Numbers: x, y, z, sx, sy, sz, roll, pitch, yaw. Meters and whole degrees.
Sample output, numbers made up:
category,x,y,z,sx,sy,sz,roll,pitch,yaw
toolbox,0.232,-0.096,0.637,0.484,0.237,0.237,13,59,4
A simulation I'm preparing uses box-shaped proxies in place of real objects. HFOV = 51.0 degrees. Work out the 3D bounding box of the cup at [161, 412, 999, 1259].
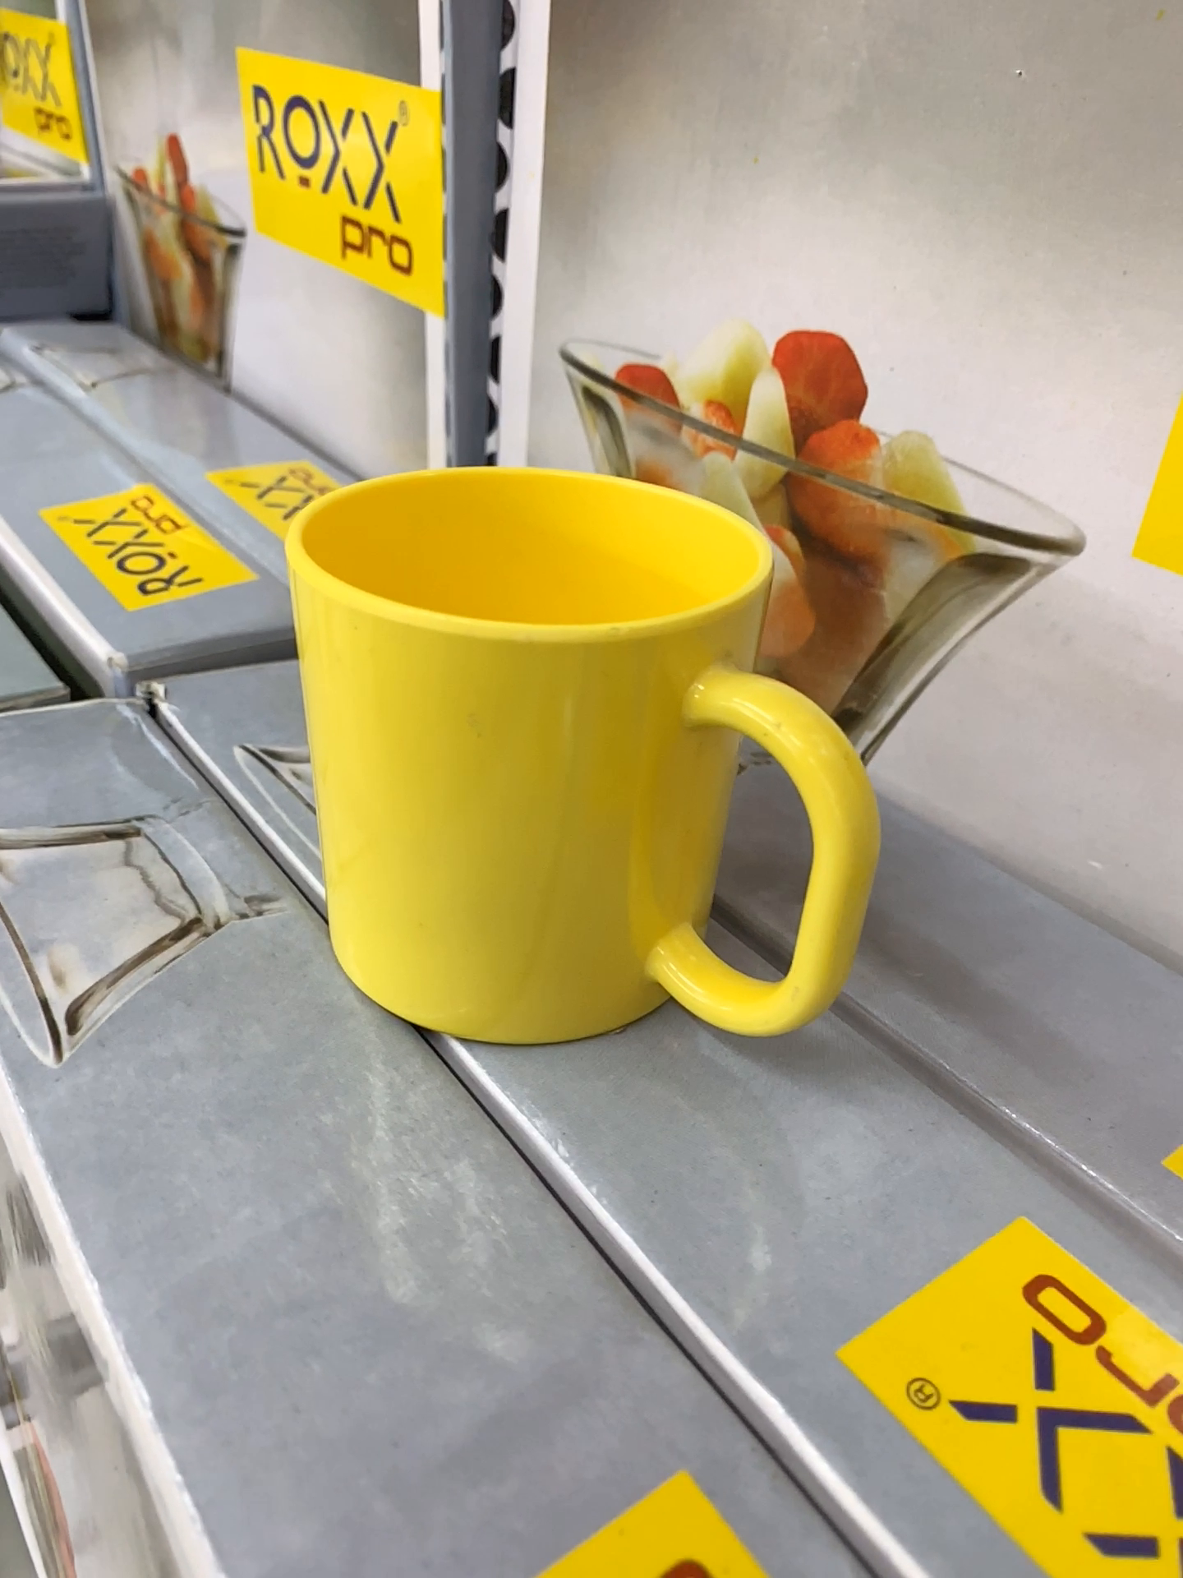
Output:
category,x,y,z,sx,sy,sz,roll,pitch,yaw
cup,-0.007,-0.003,0.198,0.070,0.079,0.100,-24,42,-39
